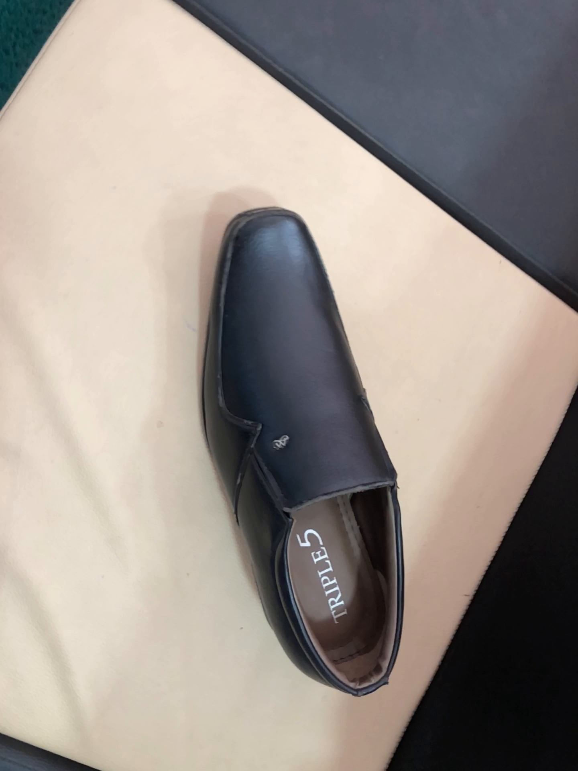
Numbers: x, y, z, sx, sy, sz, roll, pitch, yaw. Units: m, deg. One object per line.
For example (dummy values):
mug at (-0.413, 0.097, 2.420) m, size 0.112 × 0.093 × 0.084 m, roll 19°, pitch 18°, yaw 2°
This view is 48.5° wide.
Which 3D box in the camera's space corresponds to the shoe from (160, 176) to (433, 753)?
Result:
shoe at (0.002, 0.040, 0.391) m, size 0.100 × 0.090 × 0.300 m, roll -10°, pitch 95°, yaw -17°
